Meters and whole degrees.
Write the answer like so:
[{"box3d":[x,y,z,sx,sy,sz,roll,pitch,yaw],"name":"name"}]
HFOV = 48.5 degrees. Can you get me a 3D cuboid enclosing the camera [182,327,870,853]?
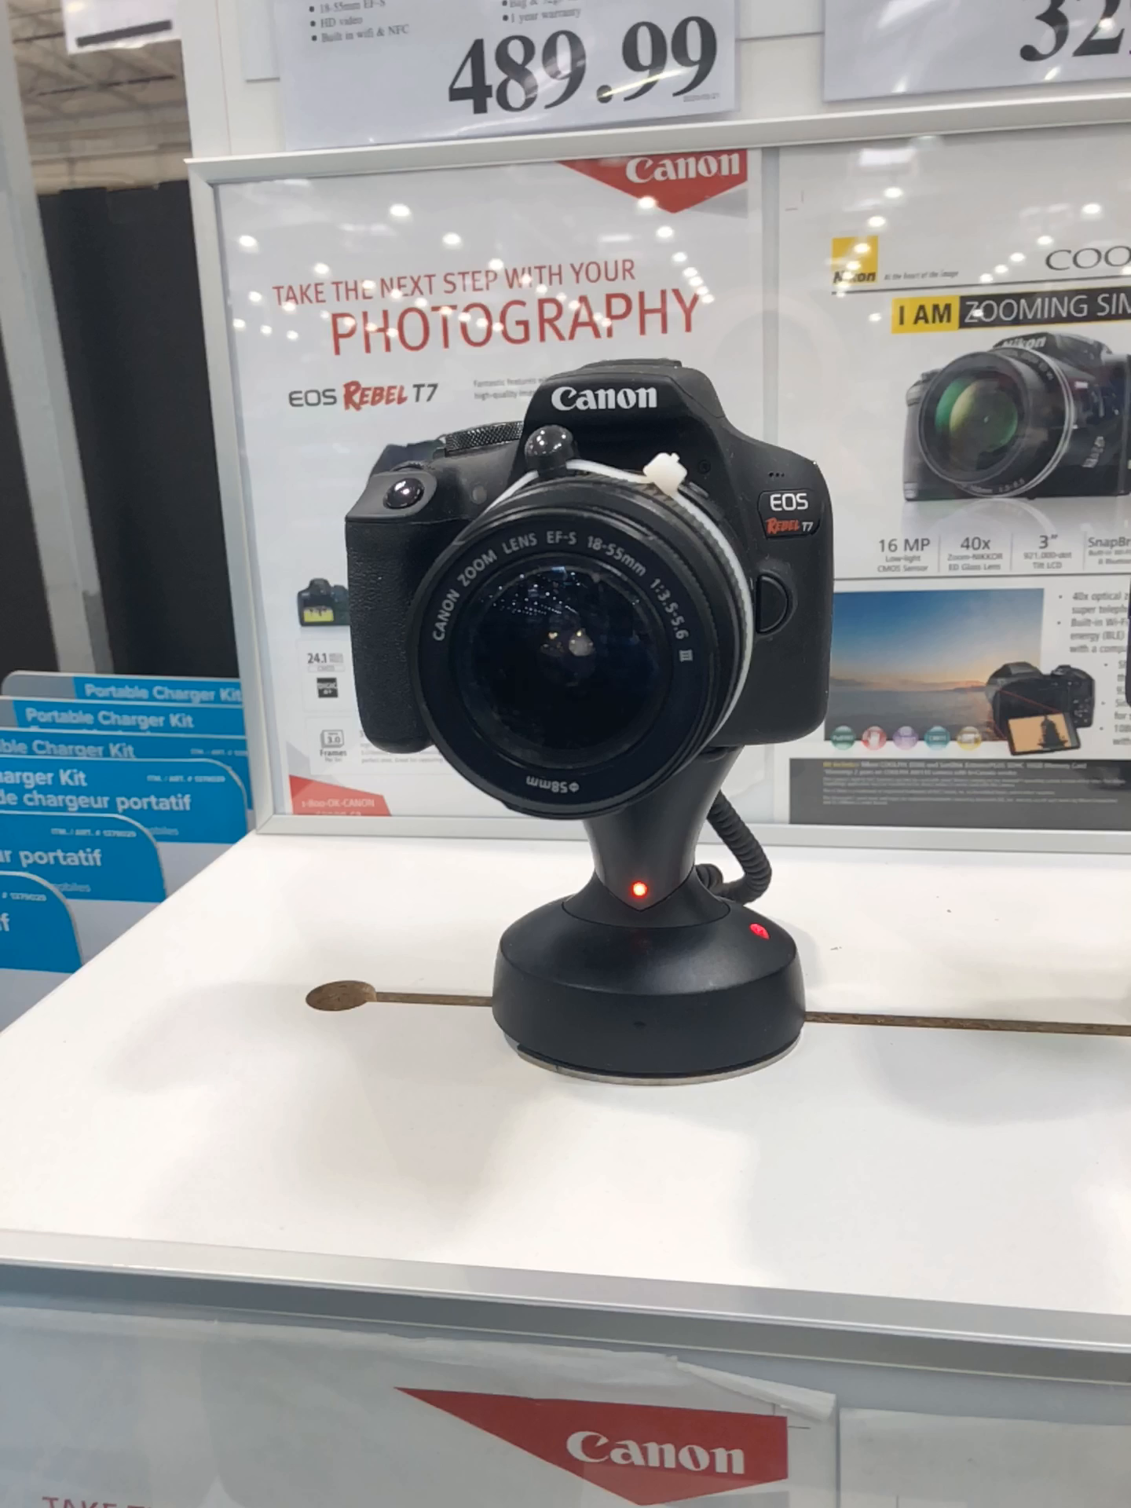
[{"box3d":[0.000,-0.043,0.304,0.130,0.100,0.120,-1,14,7],"name":"camera"}]
